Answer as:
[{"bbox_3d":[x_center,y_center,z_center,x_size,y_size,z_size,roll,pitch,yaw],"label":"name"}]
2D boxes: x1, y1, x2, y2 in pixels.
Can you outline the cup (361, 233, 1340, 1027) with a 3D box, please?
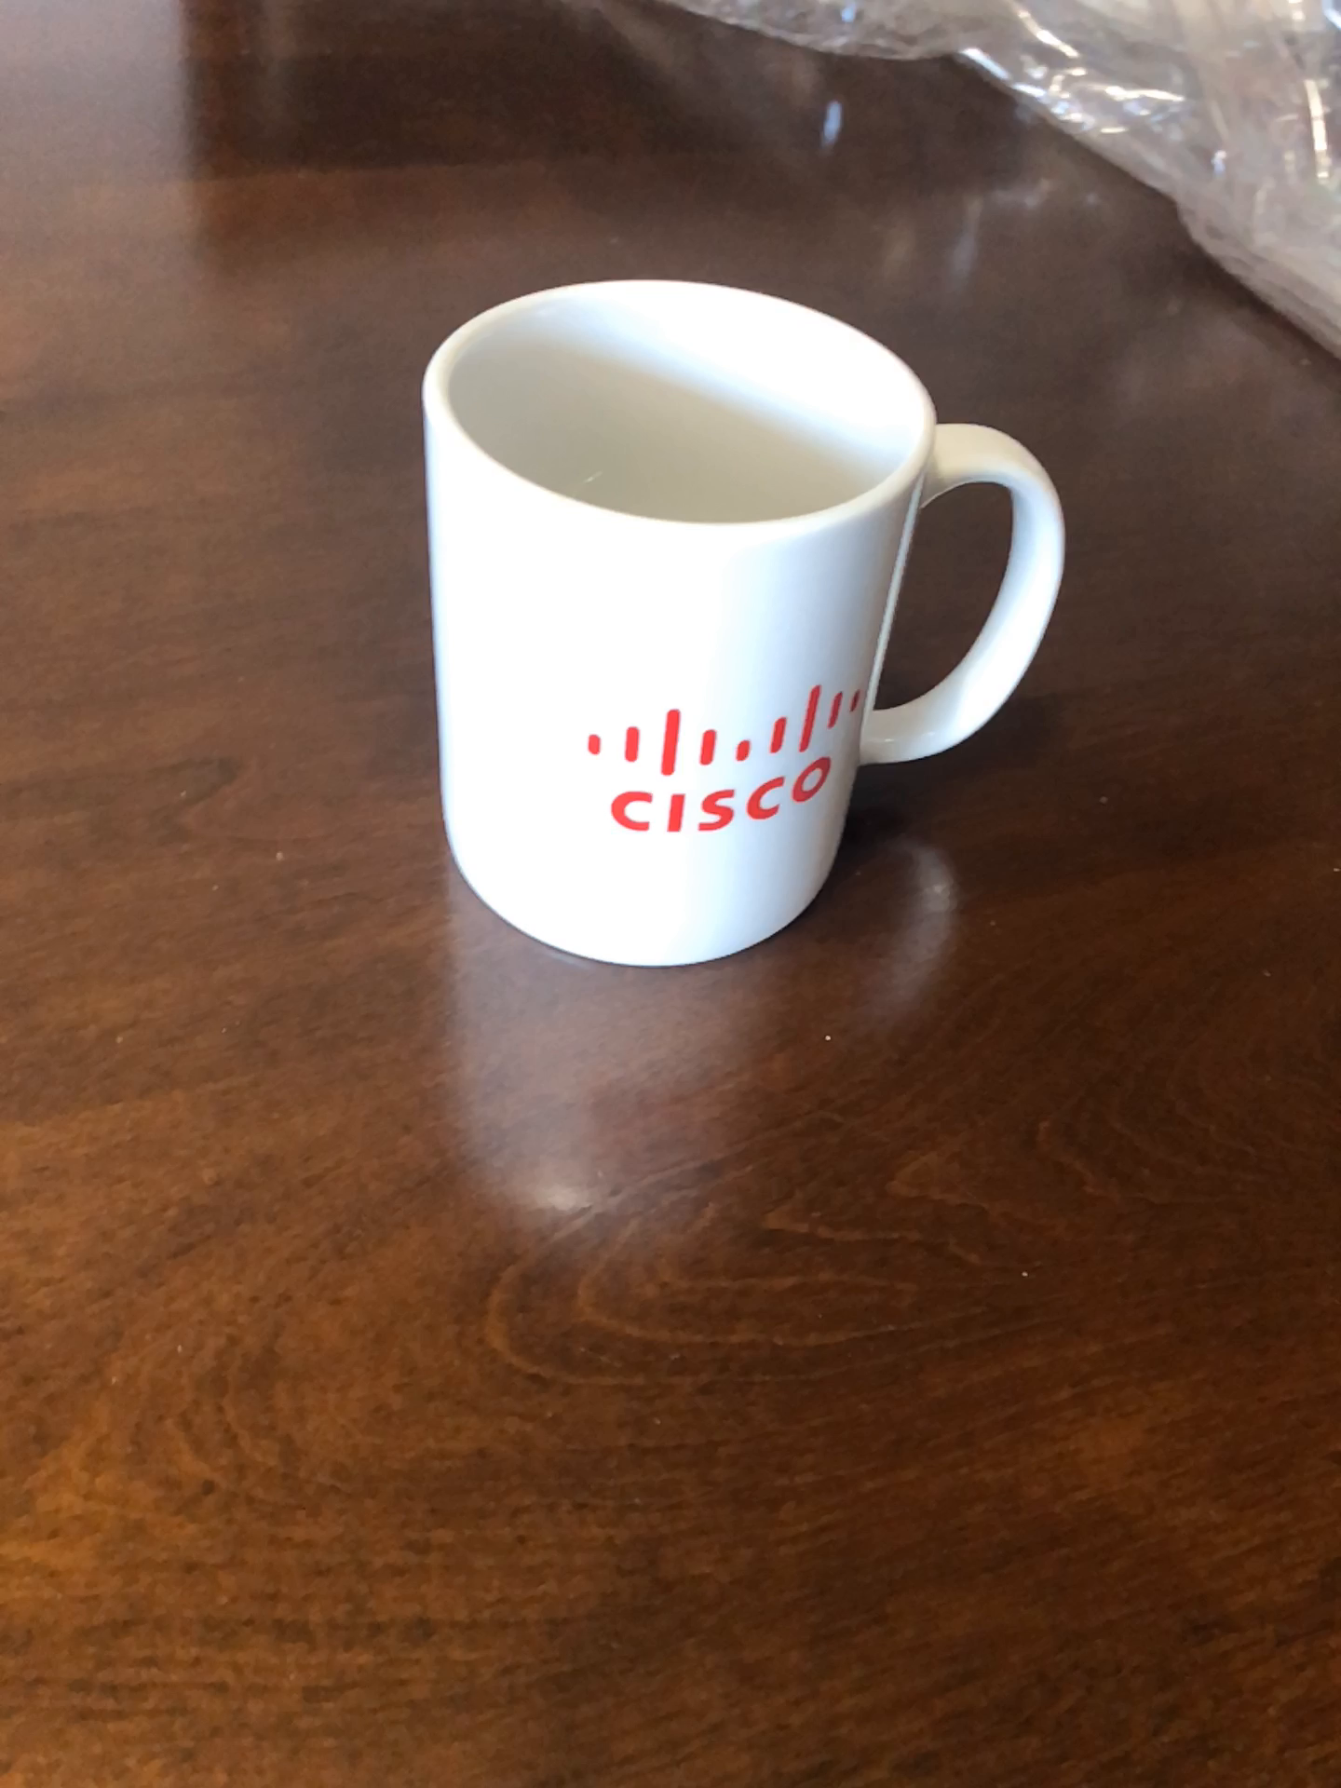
[{"bbox_3d":[0.022,-0.049,0.261,0.130,0.090,0.080,-12,48,-17],"label":"cup"}]
